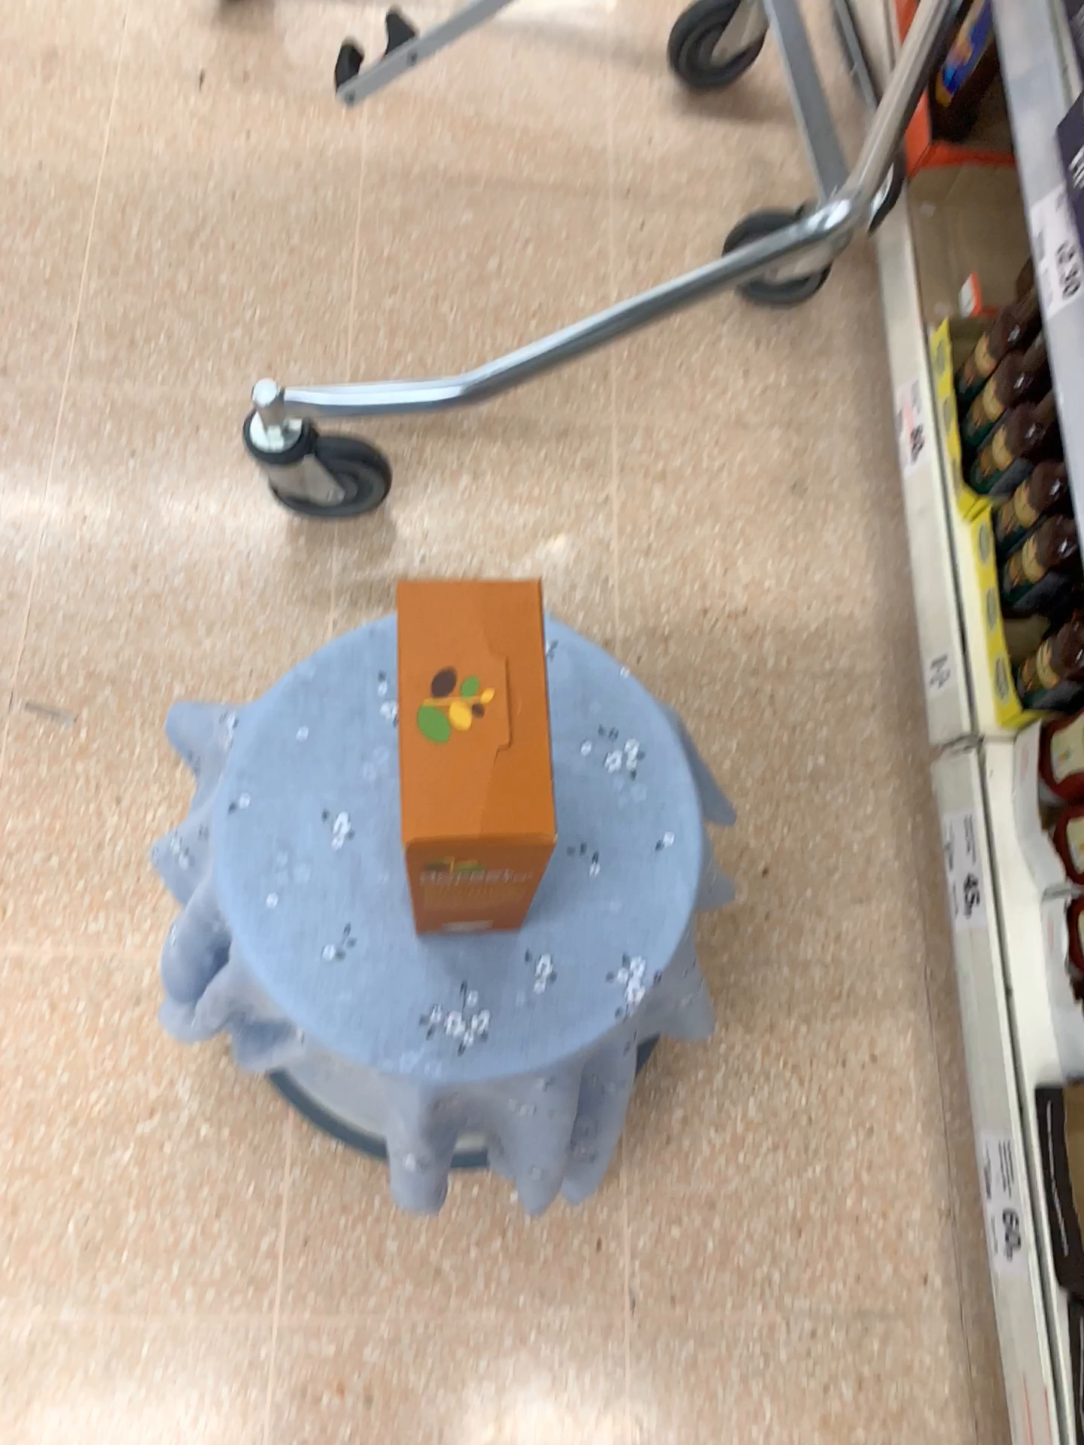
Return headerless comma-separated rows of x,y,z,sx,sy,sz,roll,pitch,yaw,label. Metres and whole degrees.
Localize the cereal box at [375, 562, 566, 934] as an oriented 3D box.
-0.039,0.027,0.546,0.070,0.229,0.120,-2,72,-6,cereal box
